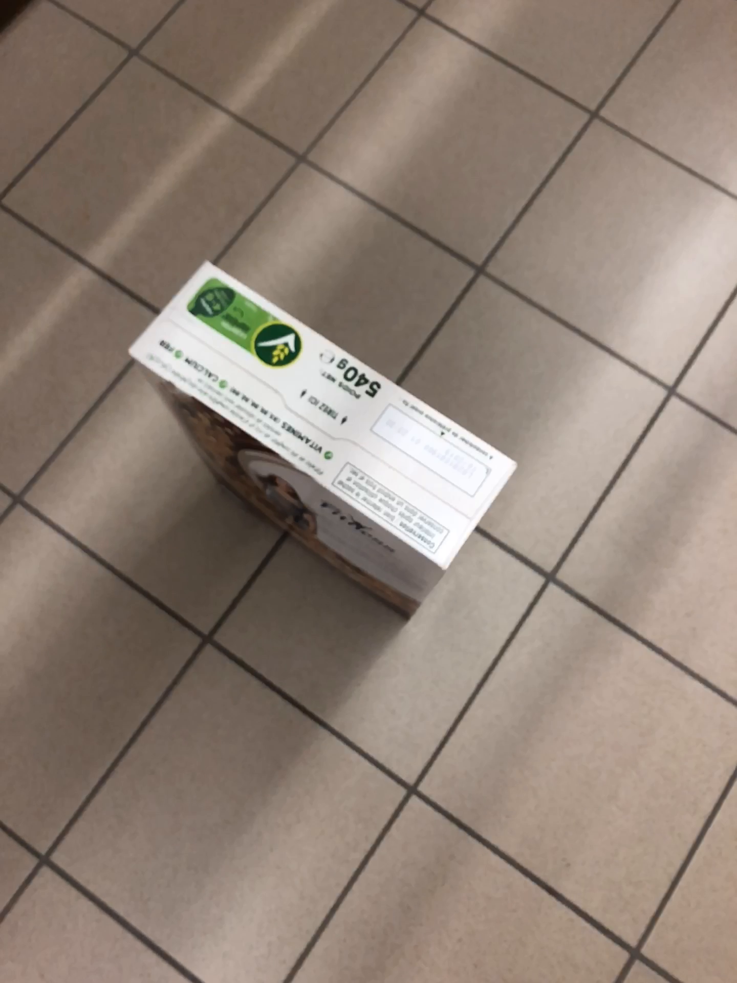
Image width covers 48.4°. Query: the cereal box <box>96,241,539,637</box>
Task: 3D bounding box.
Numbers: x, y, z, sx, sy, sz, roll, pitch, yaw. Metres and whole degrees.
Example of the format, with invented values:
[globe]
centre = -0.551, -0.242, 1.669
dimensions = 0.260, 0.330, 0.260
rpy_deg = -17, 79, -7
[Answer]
[cereal box]
centre = -0.029, -0.006, 0.539
dimensions = 0.210, 0.280, 0.080
rpy_deg = 34, 78, 7
